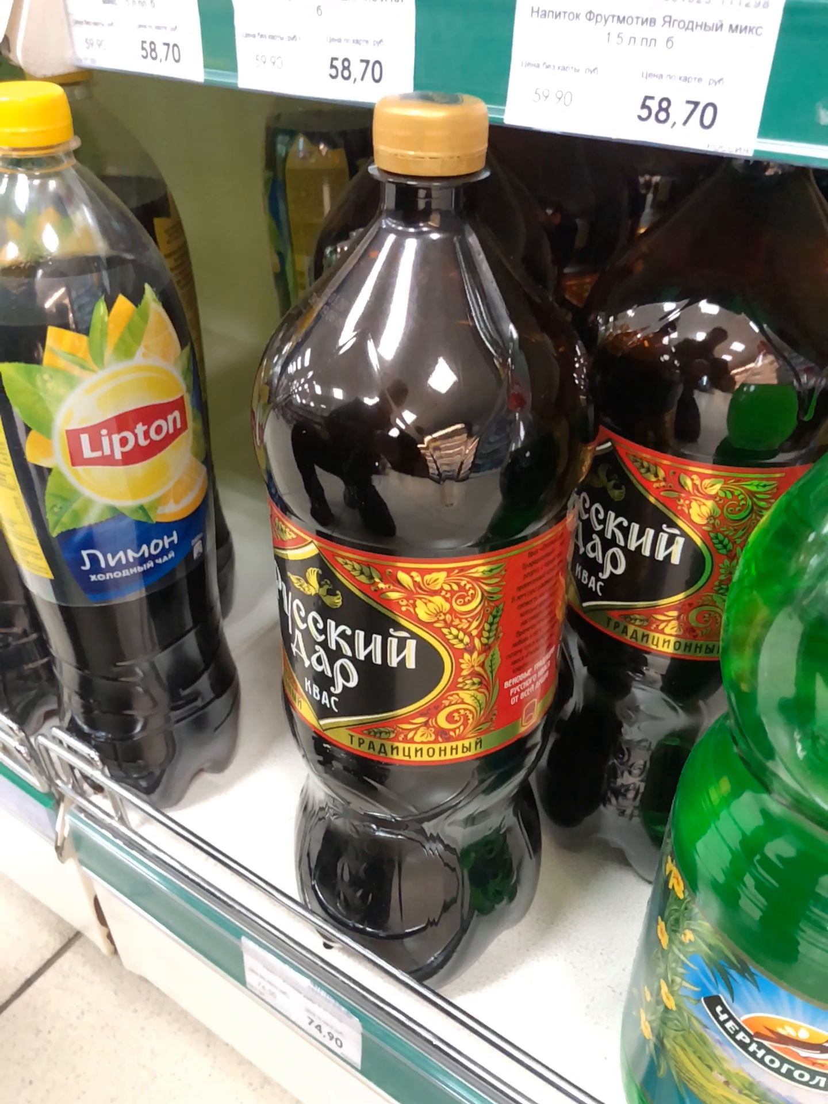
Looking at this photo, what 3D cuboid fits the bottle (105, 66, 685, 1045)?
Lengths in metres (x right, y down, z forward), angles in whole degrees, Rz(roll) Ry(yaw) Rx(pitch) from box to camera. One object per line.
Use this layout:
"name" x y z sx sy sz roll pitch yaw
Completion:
"bottle" -0.002 0.018 0.327 0.110 0.322 0.100 0 35 0

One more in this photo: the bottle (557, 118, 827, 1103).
"bottle" 0.117 0.071 0.252 0.099 0.327 0.085 24 42 31
